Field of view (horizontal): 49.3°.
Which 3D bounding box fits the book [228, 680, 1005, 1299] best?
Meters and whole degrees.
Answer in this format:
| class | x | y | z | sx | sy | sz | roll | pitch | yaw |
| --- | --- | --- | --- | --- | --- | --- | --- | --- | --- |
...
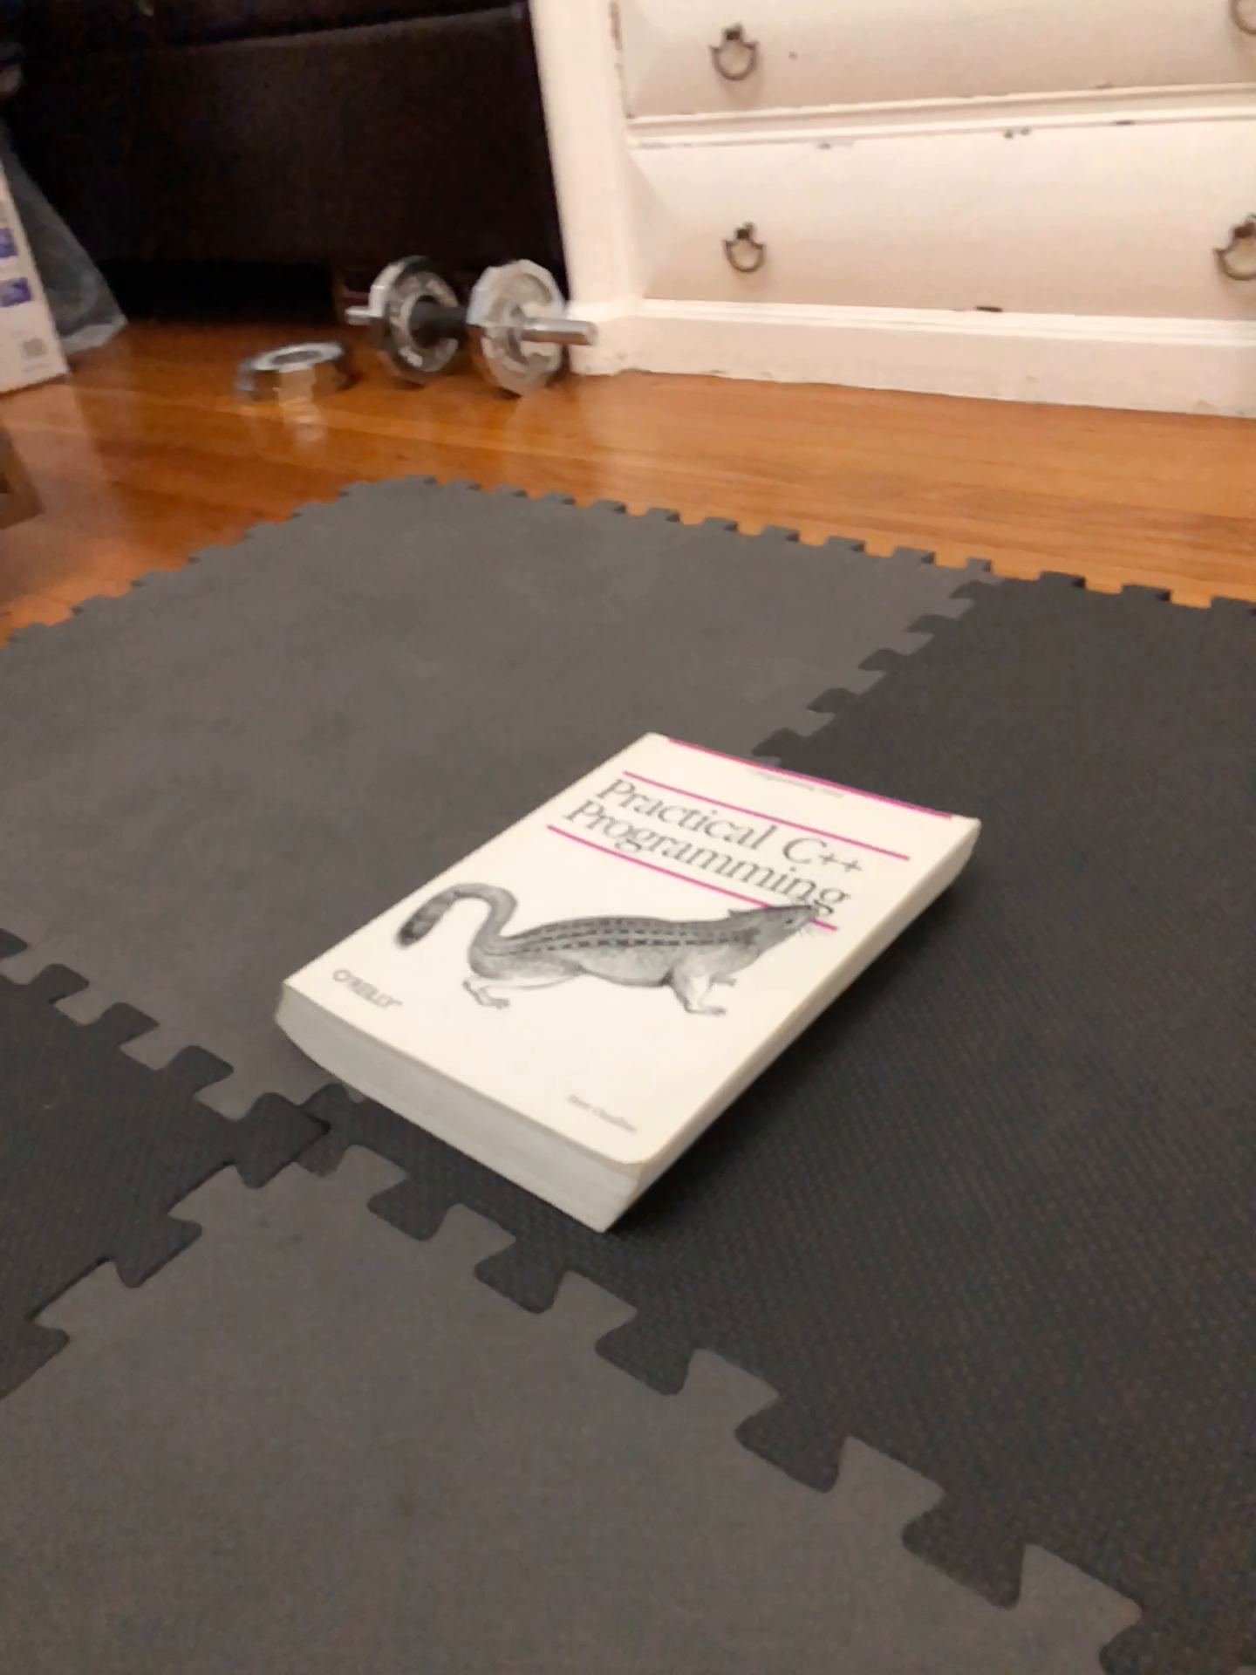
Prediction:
| class | x | y | z | sx | sy | sz | roll | pitch | yaw |
| --- | --- | --- | --- | --- | --- | --- | --- | --- | --- |
| book | 0.003 | 0.037 | 0.566 | 0.201 | 0.050 | 0.251 | 24 | 44 | 32 |
